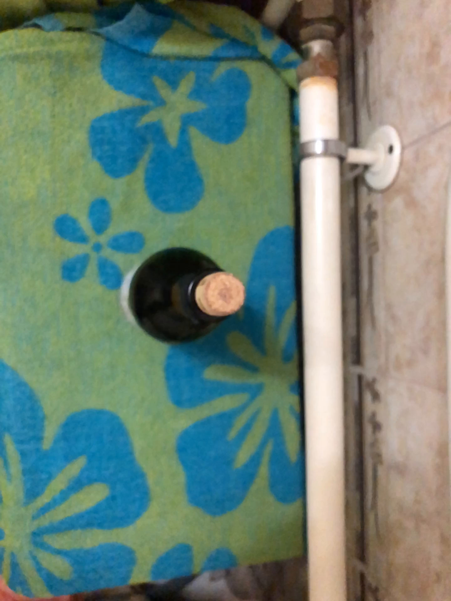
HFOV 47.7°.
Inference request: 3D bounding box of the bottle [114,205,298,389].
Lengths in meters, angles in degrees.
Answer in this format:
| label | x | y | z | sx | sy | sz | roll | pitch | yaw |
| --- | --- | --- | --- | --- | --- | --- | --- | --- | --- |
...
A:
| label | x | y | z | sx | sy | sz | roll | pitch | yaw |
| --- | --- | --- | --- | --- | --- | --- | --- | --- | --- |
| bottle | -0.041 | 0.002 | 0.393 | 0.080 | 0.320 | 0.080 | 0 | 89 | -13 |
